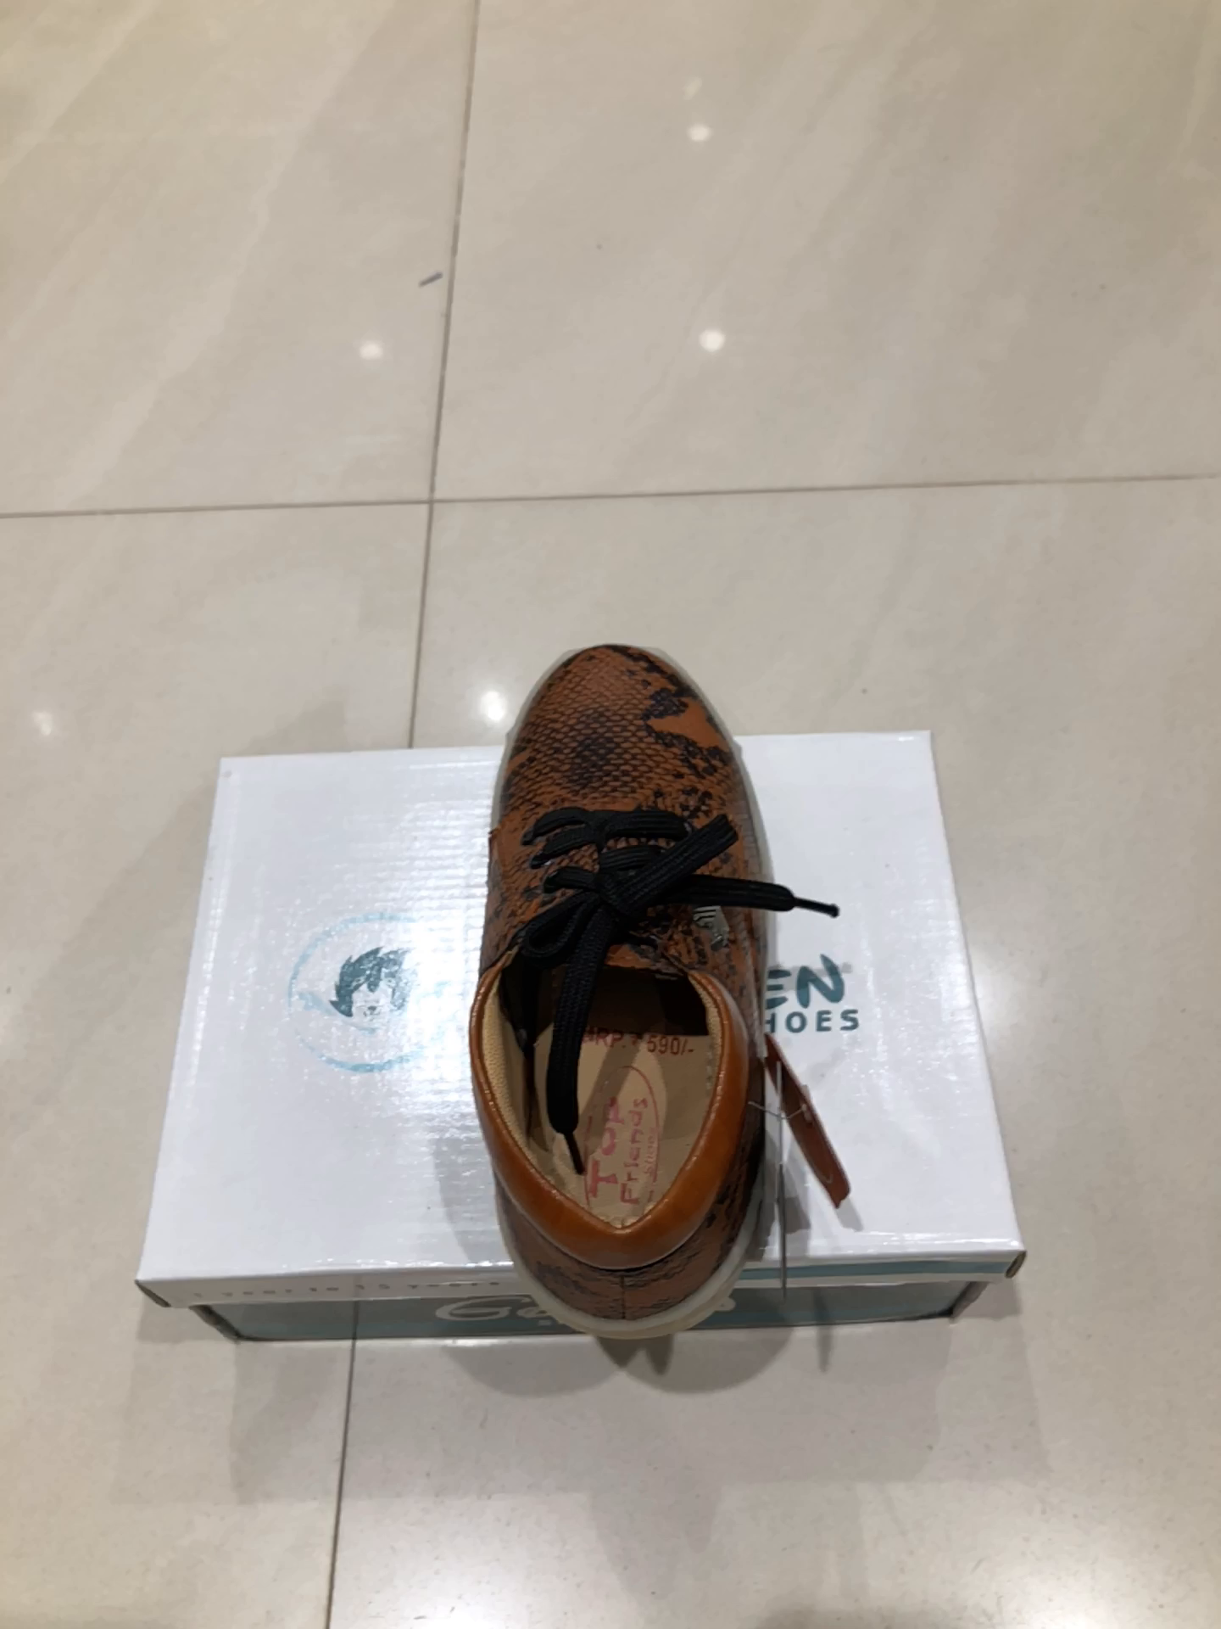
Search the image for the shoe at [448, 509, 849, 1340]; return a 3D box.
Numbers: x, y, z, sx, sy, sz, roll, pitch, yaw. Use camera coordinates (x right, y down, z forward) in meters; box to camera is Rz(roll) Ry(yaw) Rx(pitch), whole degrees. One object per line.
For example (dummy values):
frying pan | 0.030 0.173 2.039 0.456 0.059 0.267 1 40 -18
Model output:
shoe | 0.009 0.025 0.362 0.080 0.090 0.201 -2 58 2
